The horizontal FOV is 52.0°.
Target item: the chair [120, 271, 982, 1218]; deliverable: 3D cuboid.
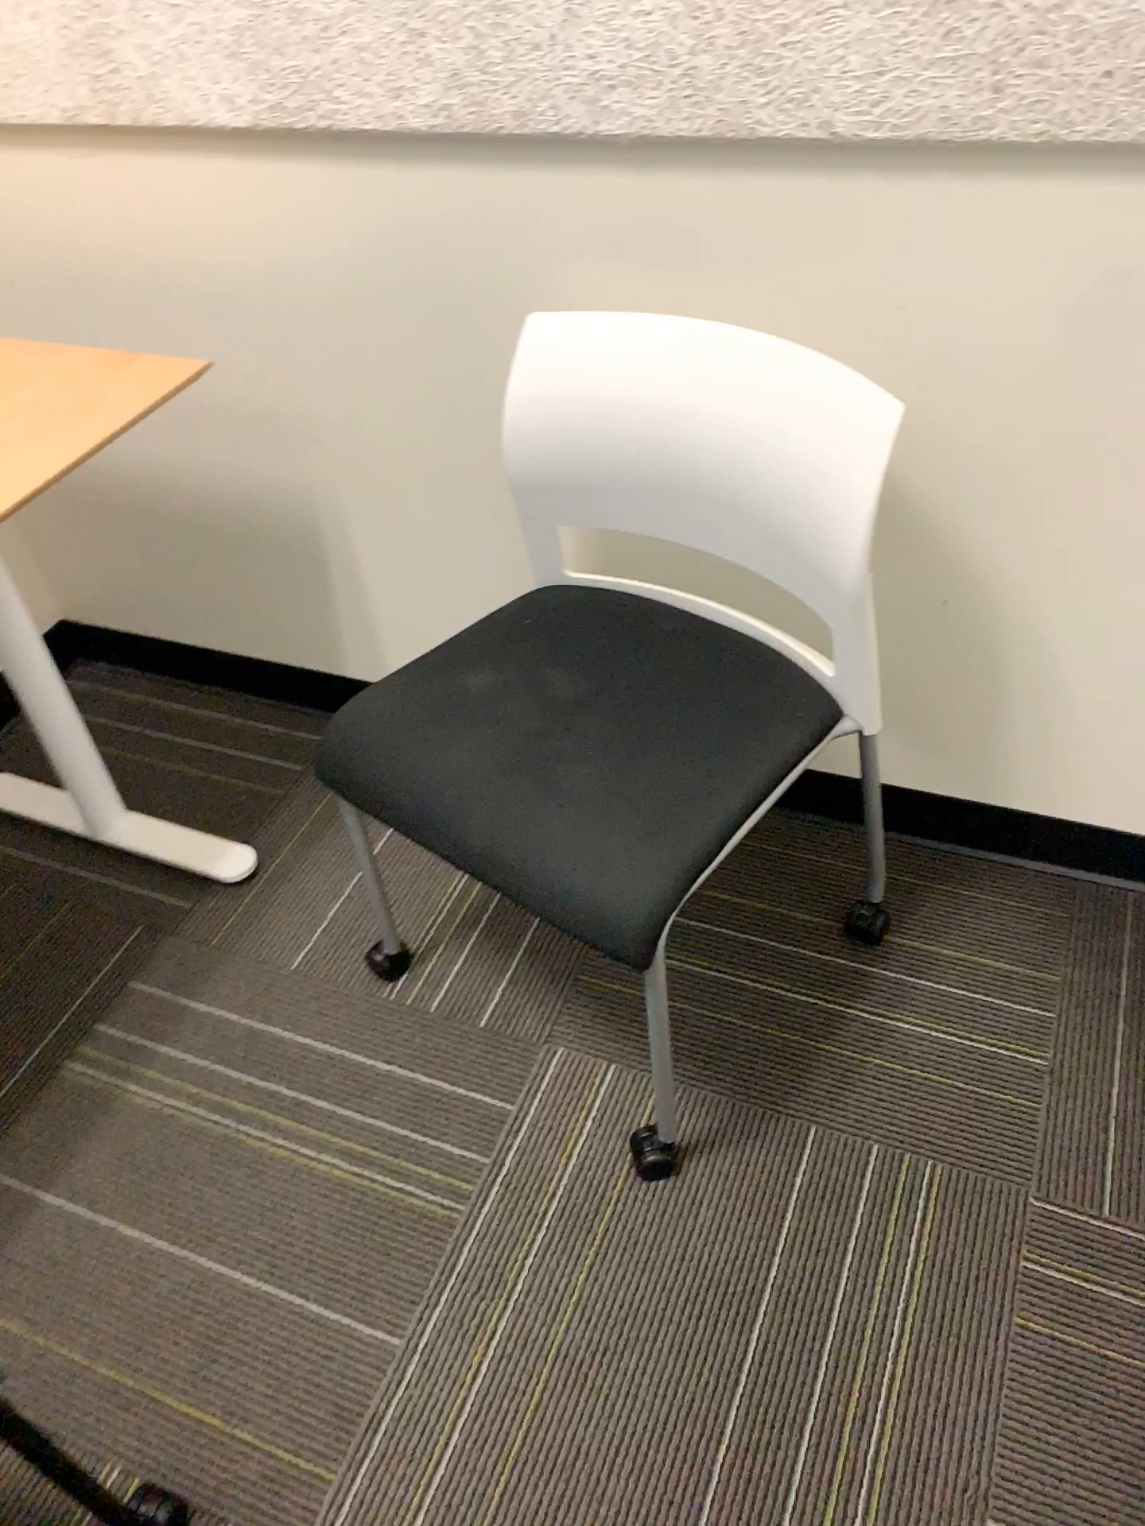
[{"bbox_3d":[0.013,-0.038,1.320,0.582,0.736,0.541,26,53,31],"label":"chair"}]
